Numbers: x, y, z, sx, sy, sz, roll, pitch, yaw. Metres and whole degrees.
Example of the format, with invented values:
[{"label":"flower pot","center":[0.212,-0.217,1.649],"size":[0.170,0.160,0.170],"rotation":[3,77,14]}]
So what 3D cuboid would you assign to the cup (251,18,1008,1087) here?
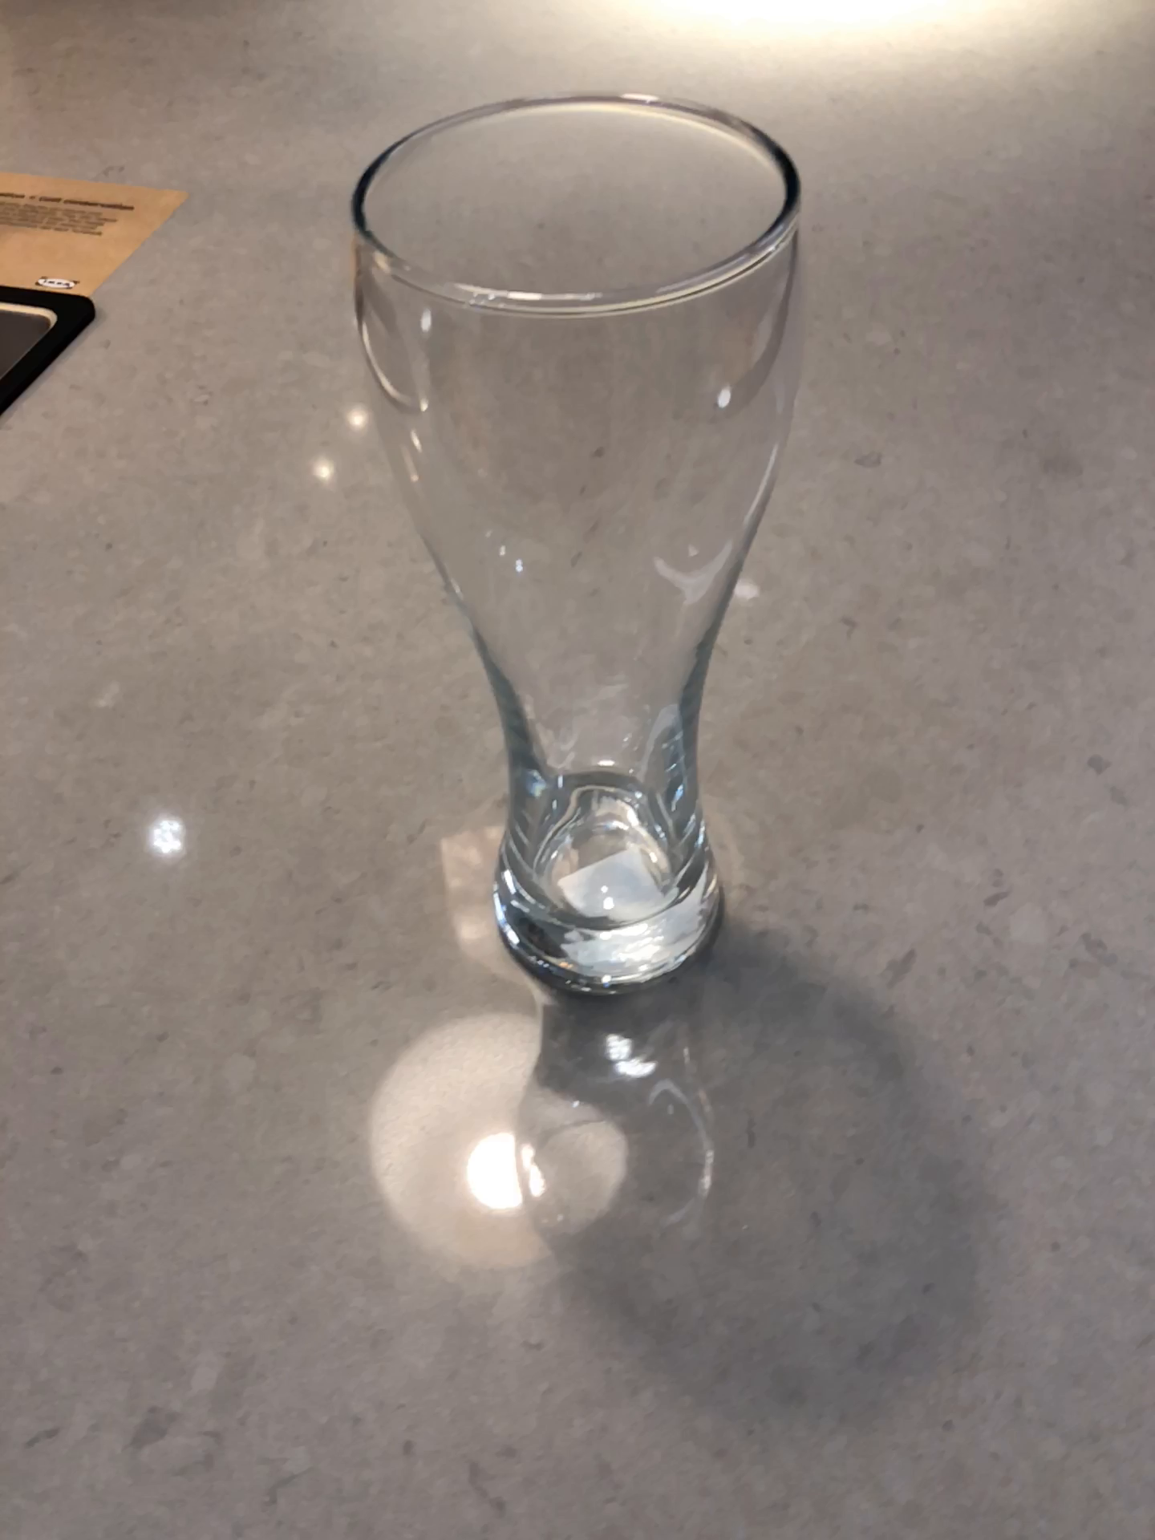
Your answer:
[{"label":"cup","center":[0.009,-0.037,0.313],"size":[0.100,0.219,0.100],"rotation":[-1,49,2]}]
